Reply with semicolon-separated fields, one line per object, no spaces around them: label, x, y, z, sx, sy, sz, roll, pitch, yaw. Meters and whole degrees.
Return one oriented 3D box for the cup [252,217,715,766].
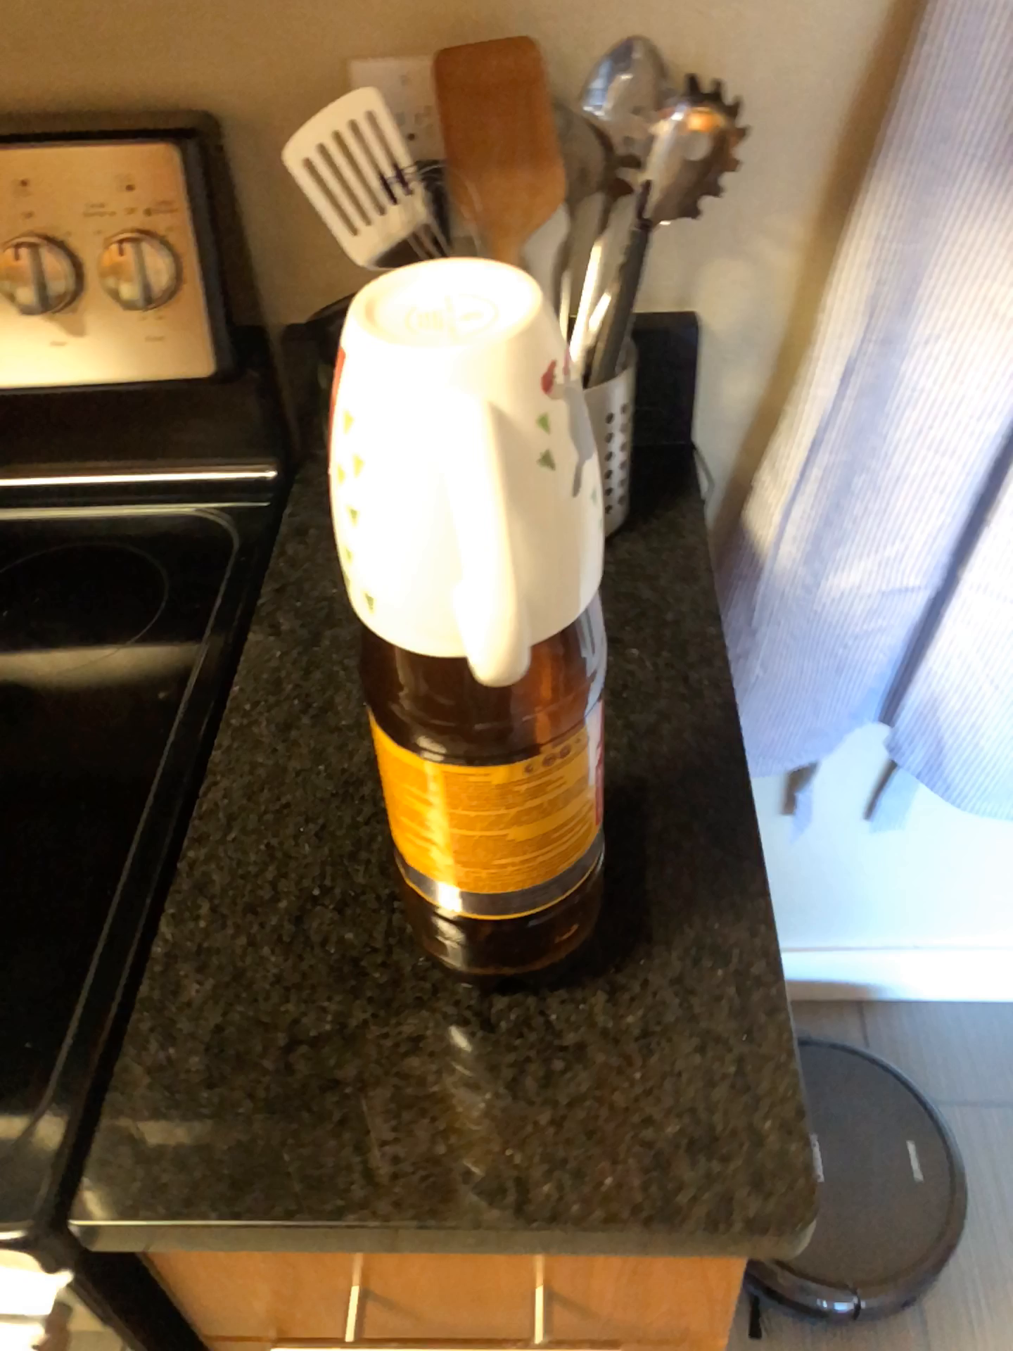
cup;-0.013;-0.069;0.379;0.100;0.110;0.141;-16;43;-14
